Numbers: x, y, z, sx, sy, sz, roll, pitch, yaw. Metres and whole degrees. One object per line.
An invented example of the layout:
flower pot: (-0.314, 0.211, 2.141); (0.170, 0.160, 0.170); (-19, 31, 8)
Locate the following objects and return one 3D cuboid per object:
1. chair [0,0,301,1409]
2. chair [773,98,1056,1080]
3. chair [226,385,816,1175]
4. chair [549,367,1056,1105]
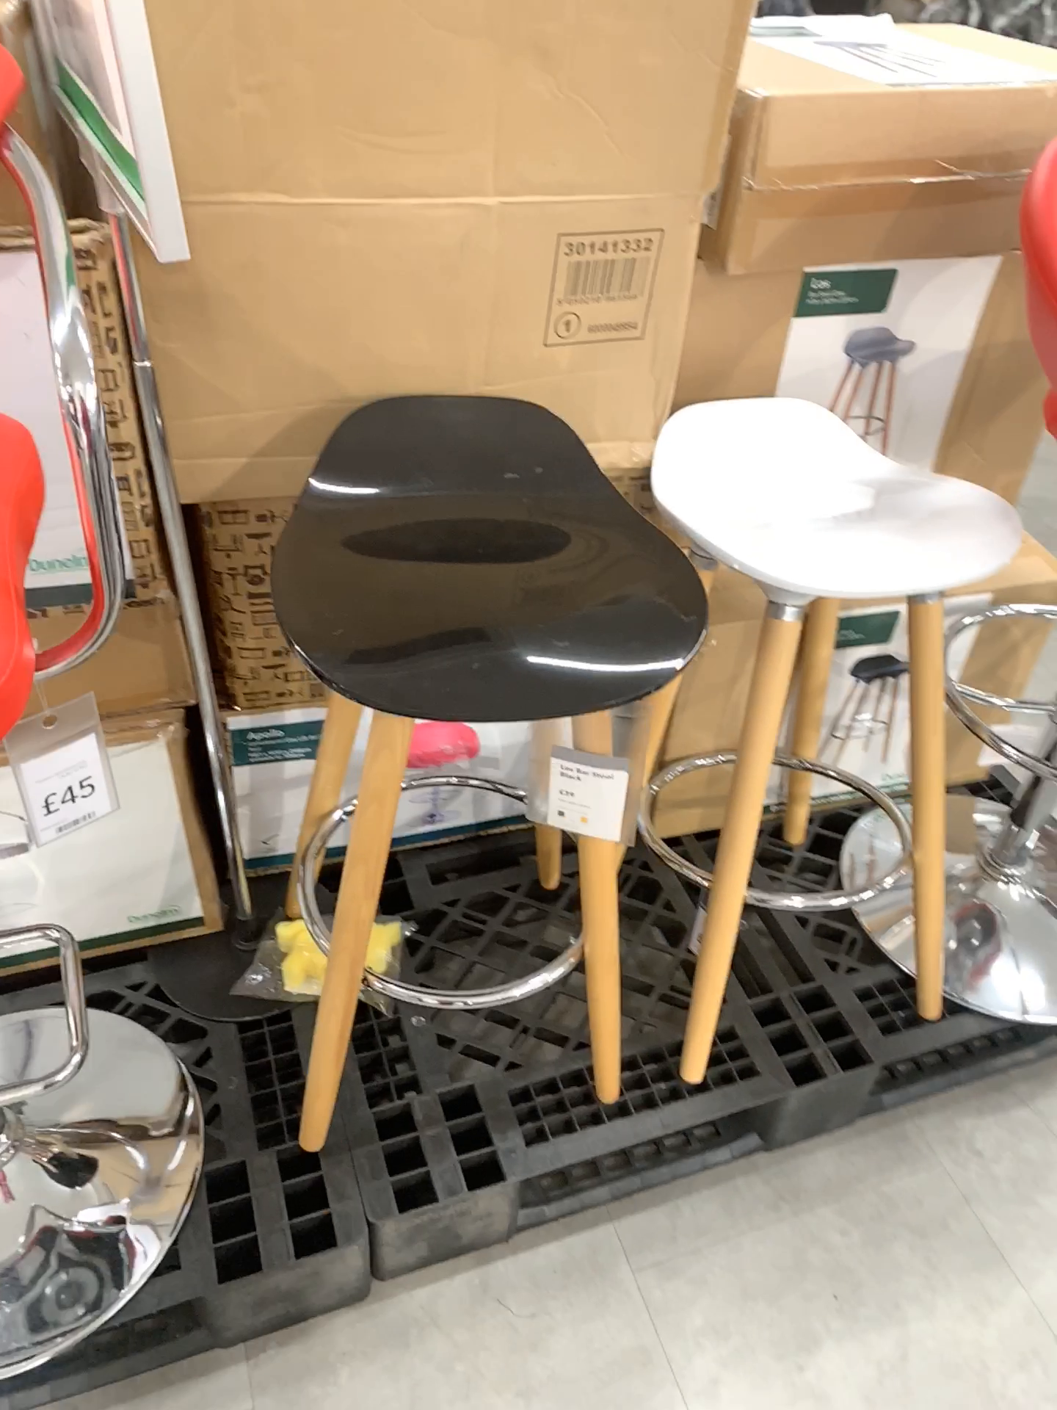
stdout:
chair: (-0.536, 0.091, 0.810); (0.549, 1.029, 0.453); (-13, 41, -20)
chair: (0.723, -0.112, 1.264); (0.509, 0.980, 0.453); (-13, 41, -20)
chair: (-0.059, 0.079, 1.137); (0.429, 0.673, 0.434); (-5, 39, -12)
chair: (0.320, 0.027, 1.282); (0.409, 0.663, 0.484); (-10, 40, -17)
